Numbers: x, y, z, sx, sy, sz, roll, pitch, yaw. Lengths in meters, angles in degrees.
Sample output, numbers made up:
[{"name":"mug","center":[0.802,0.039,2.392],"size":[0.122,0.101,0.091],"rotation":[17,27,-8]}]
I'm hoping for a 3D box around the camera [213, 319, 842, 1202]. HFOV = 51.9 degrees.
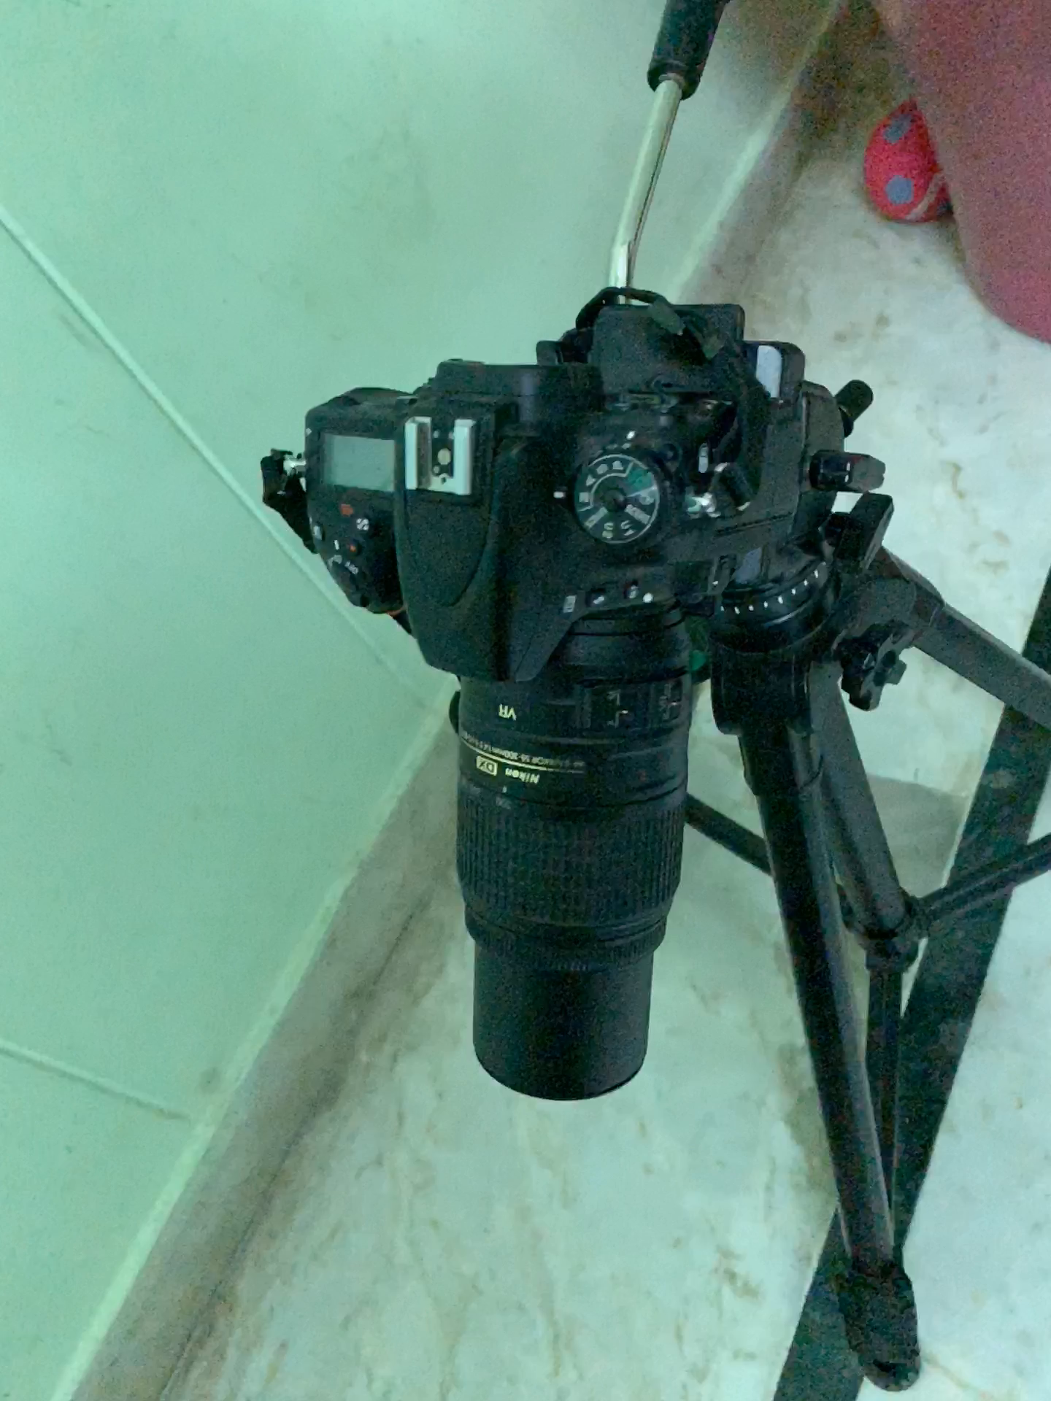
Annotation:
[{"name":"camera","center":[-0.002,0.001,0.329],"size":[0.131,0.214,0.116],"rotation":[15,21,34]}]
